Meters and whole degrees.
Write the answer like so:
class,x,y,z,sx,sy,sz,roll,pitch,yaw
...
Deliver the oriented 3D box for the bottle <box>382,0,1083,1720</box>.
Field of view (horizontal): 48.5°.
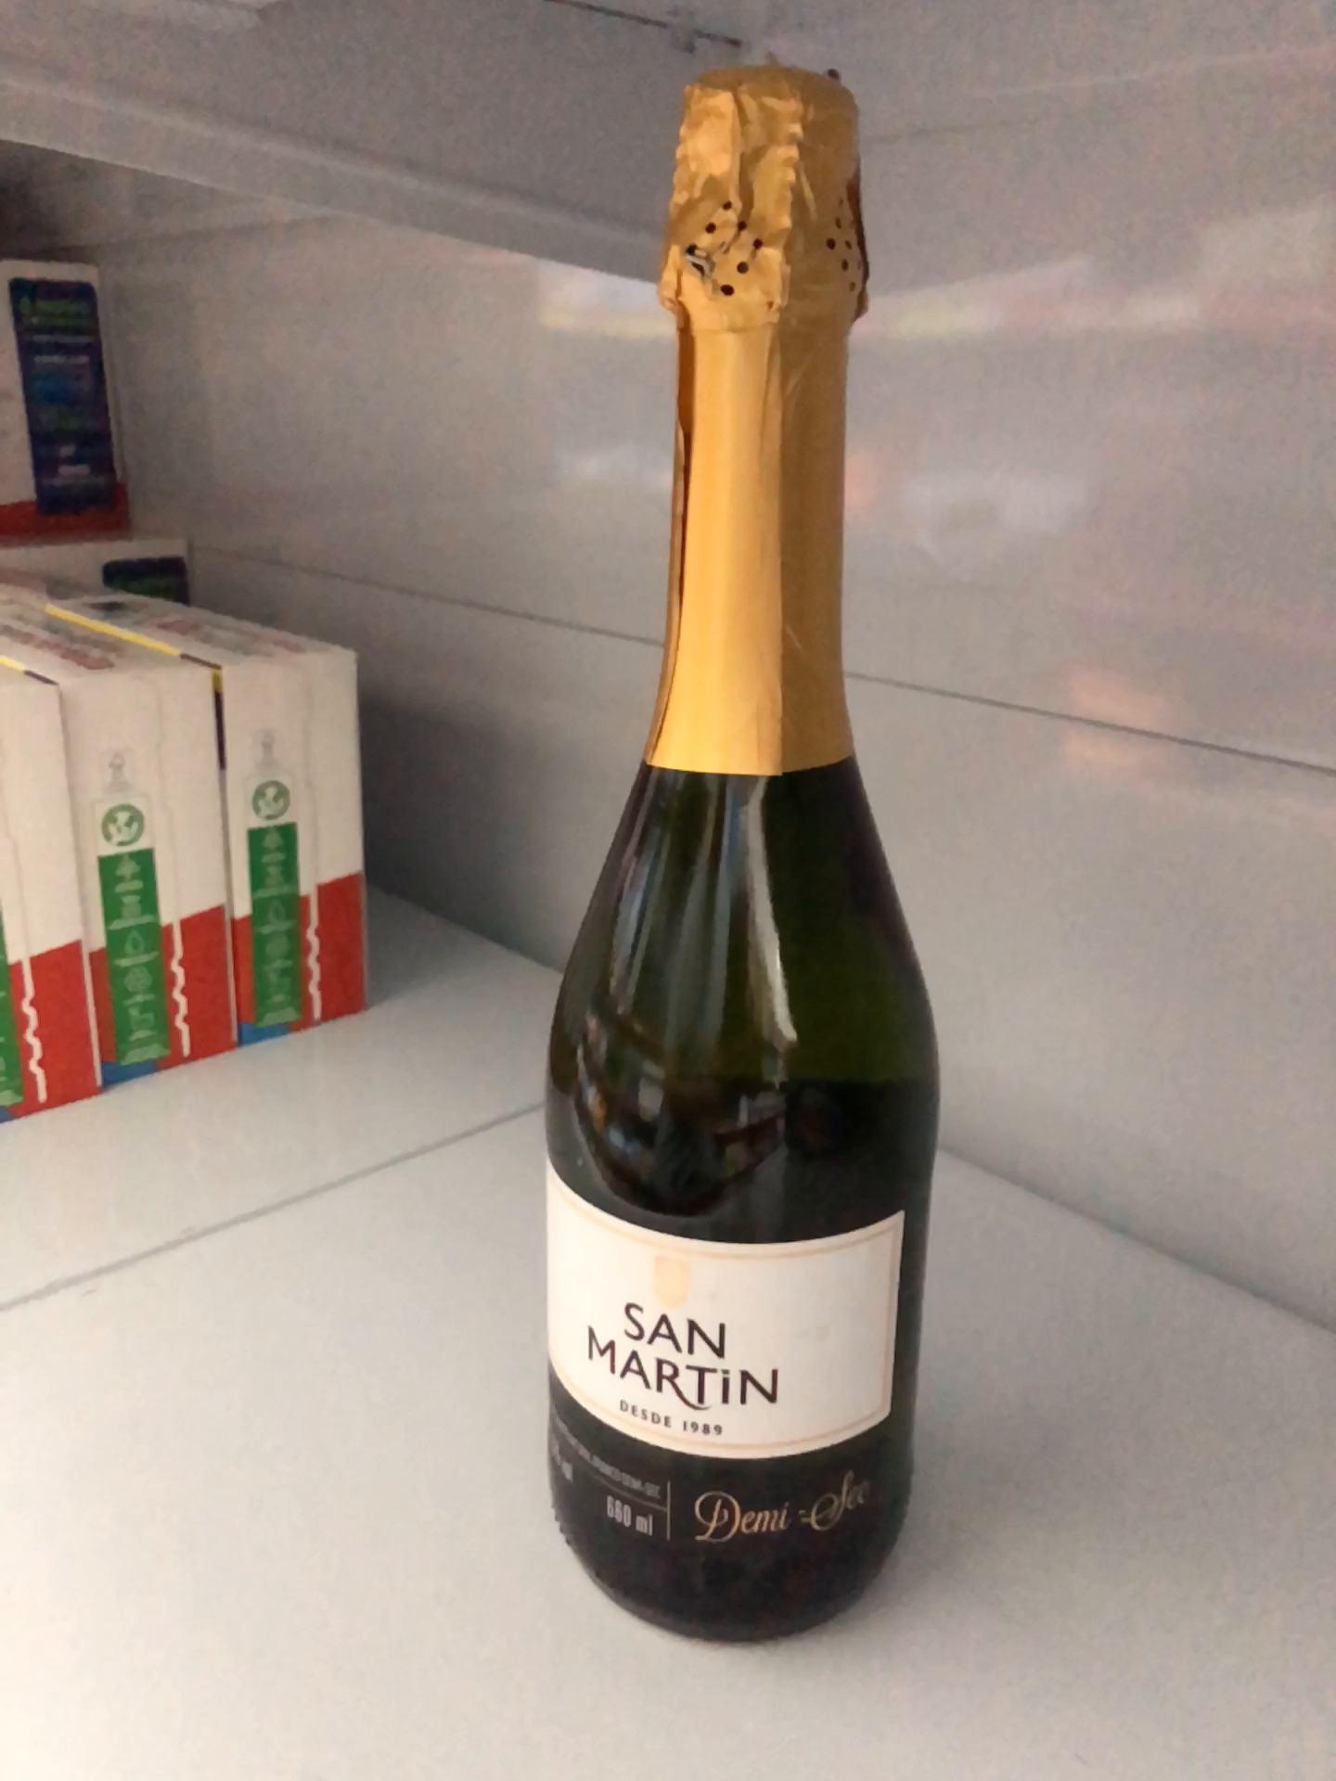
class,x,y,z,sx,sy,sz,roll,pitch,yaw
bottle,0.014,-0.006,0.287,0.090,0.308,0.080,8,20,22
